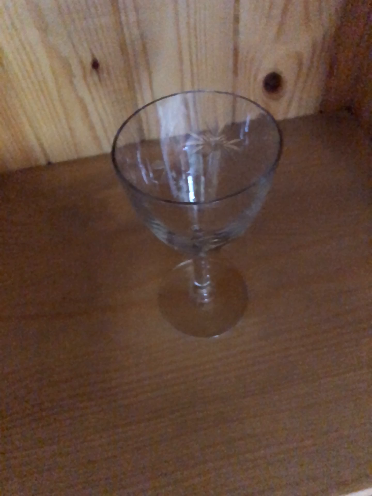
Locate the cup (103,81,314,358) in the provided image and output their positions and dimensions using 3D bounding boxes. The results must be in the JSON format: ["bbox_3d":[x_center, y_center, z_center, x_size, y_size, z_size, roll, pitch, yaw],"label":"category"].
[{"bbox_3d":[0.012,-0.002,0.216,0.070,0.139,0.070,-2,55,3],"label":"cup"}]
